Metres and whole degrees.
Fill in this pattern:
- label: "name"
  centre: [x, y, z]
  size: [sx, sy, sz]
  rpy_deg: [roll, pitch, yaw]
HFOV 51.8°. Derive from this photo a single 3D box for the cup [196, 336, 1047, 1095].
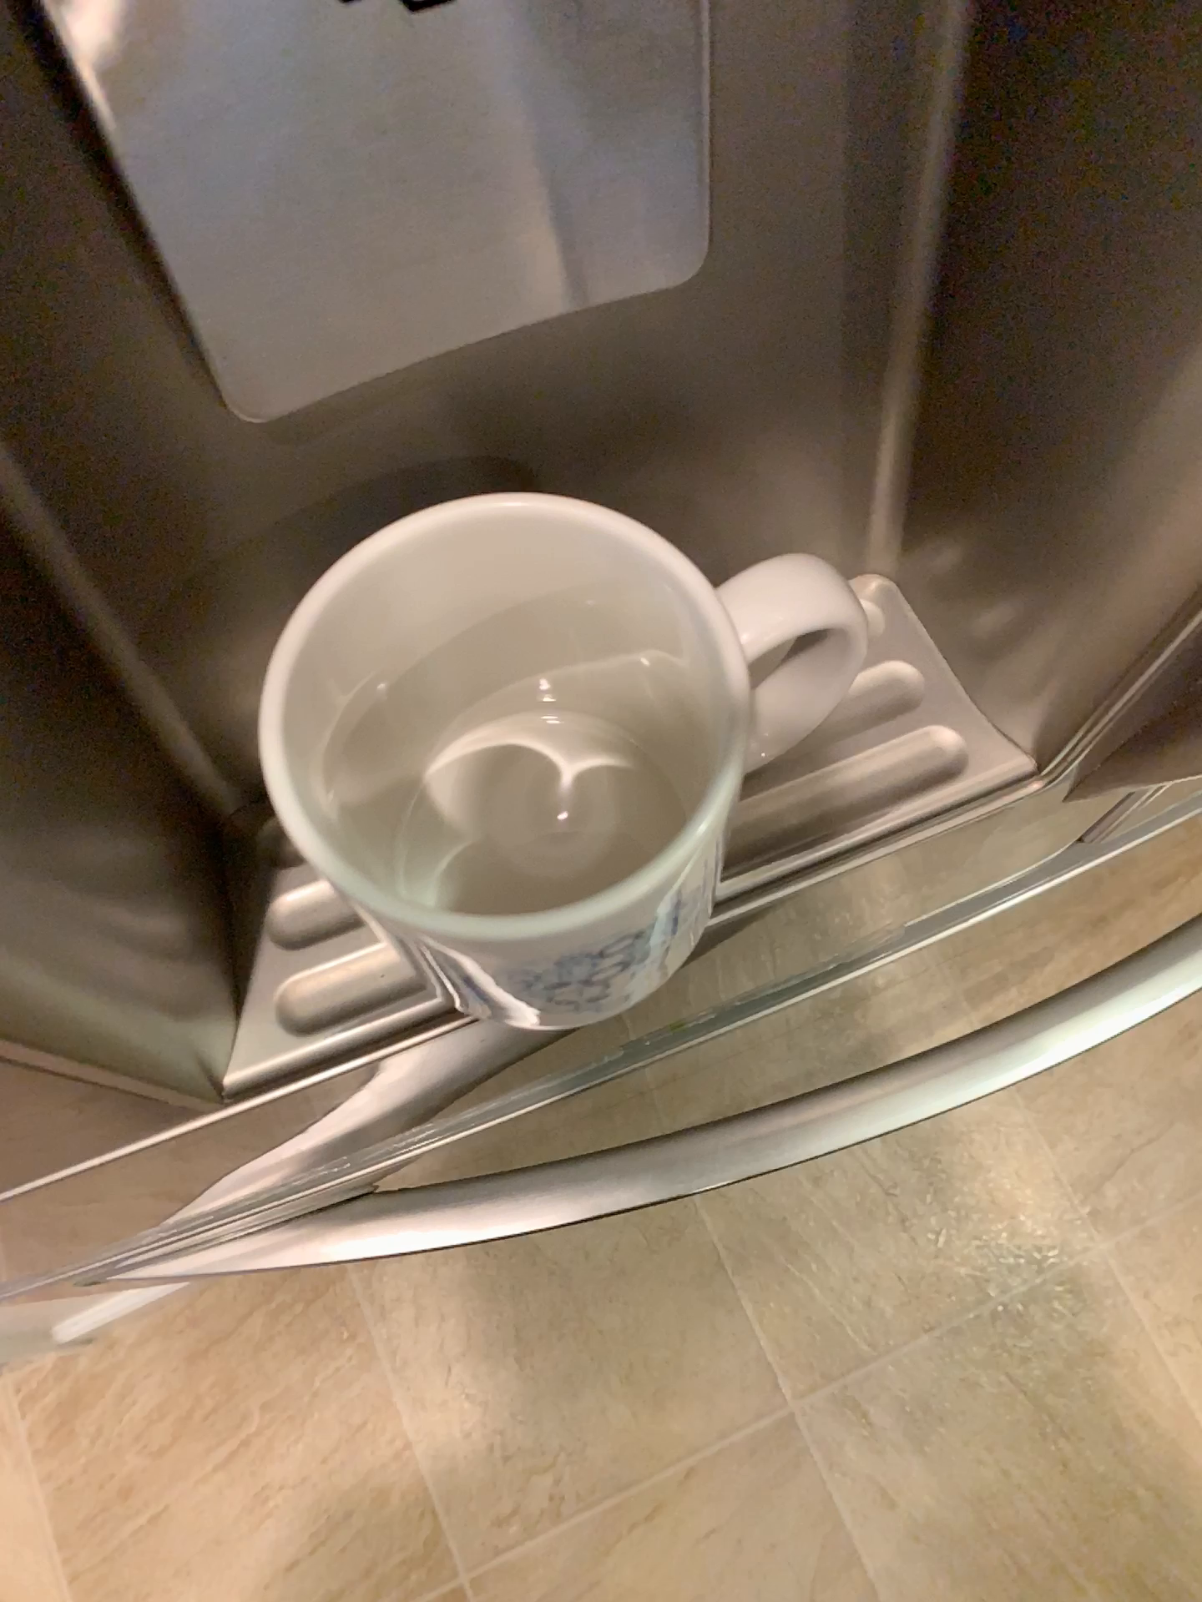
- label: "cup"
  centre: [0.003, -0.010, 0.256]
  size: [0.120, 0.100, 0.080]
  rpy_deg: [-27, 72, -8]
